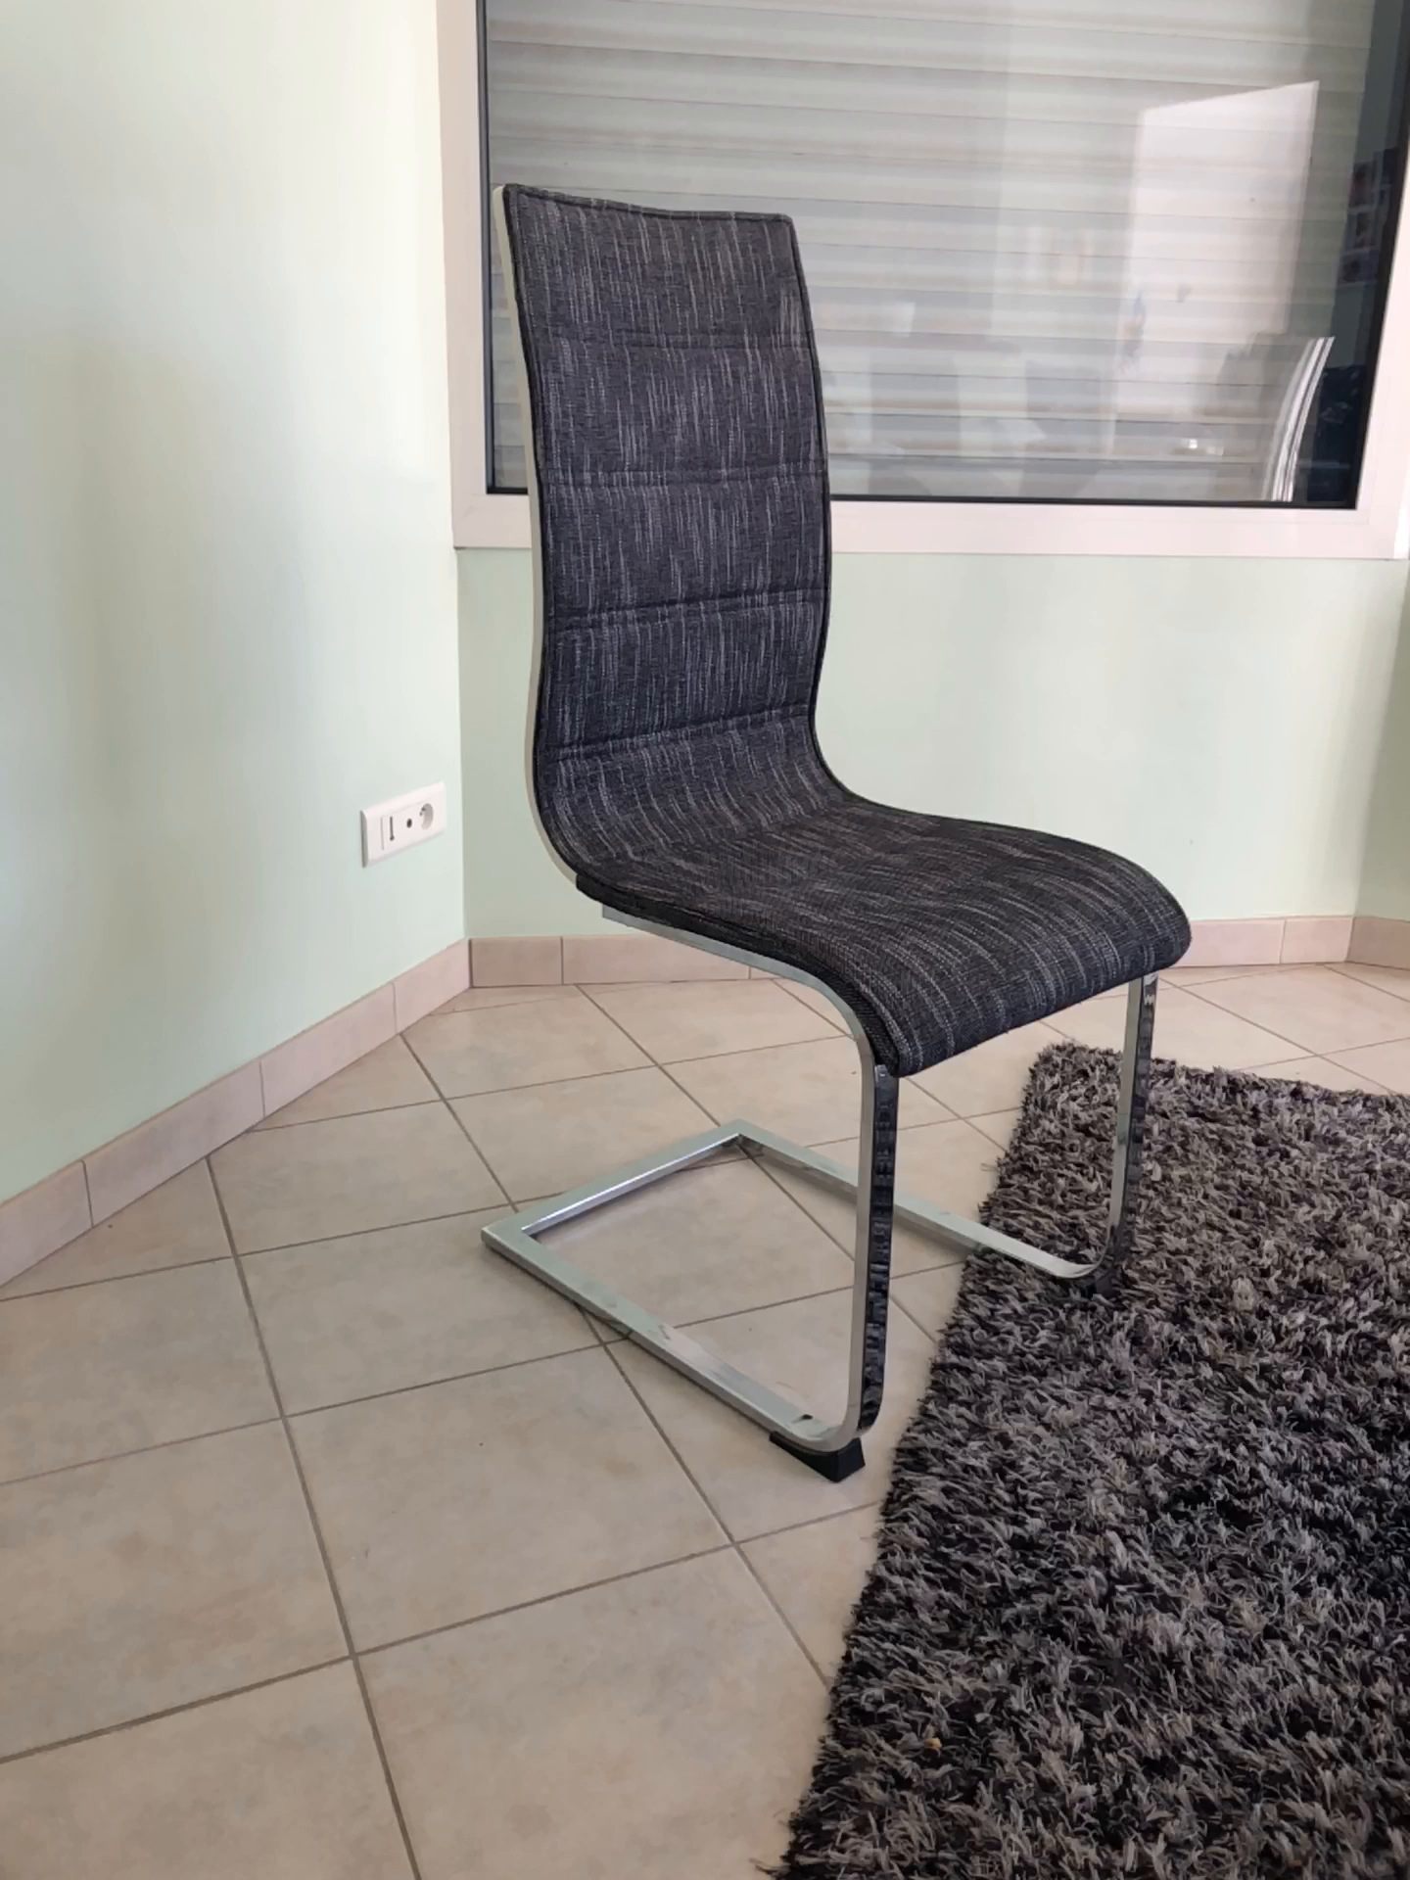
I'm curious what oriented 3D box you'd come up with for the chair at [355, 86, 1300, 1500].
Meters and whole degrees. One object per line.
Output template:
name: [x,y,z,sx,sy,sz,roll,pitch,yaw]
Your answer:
chair: [0.081,-0.153,1.397,0.503,0.966,0.580,-16,25,-43]
